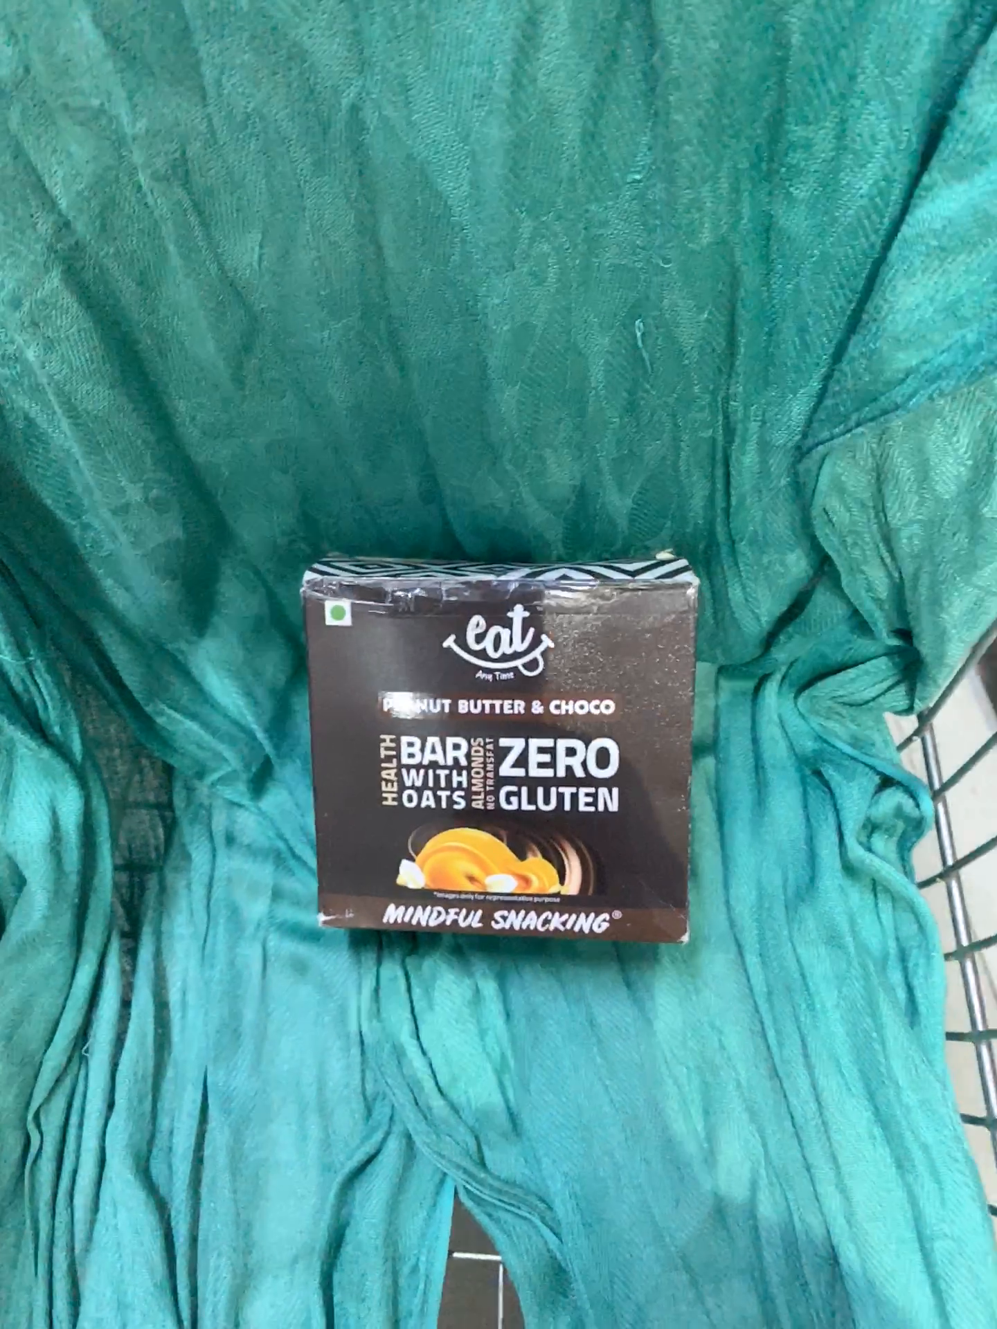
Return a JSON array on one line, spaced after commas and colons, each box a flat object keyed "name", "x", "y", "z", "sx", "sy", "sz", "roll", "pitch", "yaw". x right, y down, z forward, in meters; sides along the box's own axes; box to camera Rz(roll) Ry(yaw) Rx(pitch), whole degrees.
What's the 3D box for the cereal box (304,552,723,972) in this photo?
[{"name": "cereal box", "x": 0.008, "y": 0.030, "z": 0.397, "sx": 0.140, "sy": 0.090, "sz": 0.140, "roll": 1, "pitch": 99, "yaw": 5}]
